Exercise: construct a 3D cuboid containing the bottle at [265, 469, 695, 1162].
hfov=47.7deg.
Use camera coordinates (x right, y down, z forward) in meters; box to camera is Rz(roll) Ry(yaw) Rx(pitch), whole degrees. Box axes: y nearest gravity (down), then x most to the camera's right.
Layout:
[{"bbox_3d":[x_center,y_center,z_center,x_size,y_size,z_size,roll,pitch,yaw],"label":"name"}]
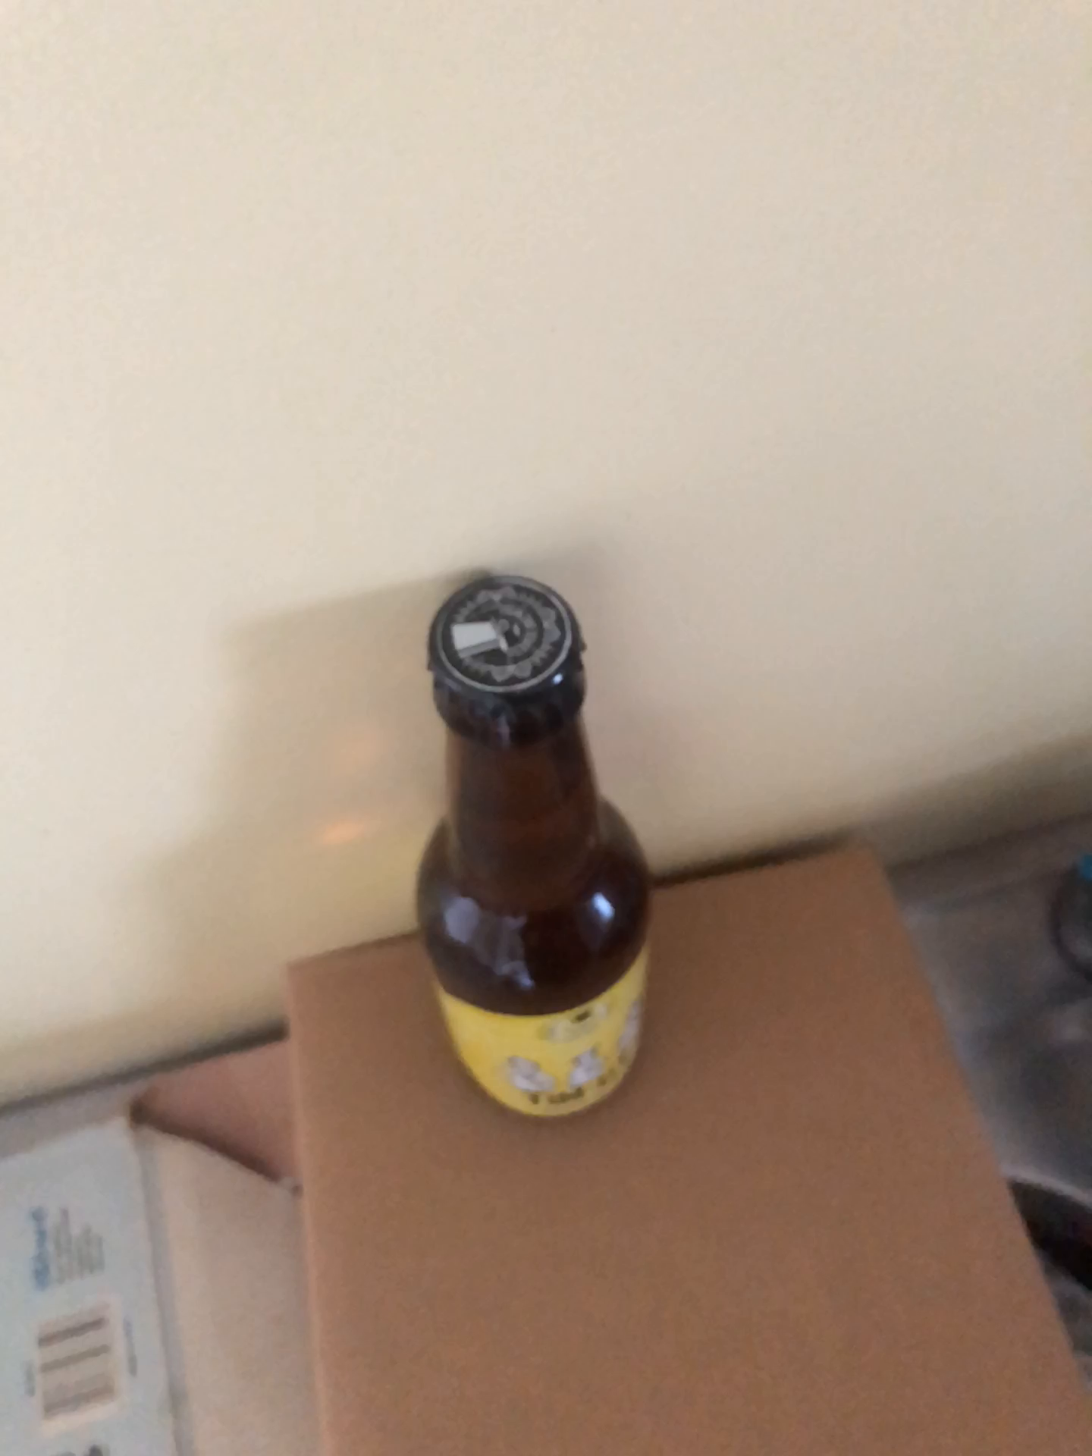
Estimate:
[{"bbox_3d":[-0.005,0.044,0.311,0.060,0.229,0.060,-2,58,3],"label":"bottle"}]
